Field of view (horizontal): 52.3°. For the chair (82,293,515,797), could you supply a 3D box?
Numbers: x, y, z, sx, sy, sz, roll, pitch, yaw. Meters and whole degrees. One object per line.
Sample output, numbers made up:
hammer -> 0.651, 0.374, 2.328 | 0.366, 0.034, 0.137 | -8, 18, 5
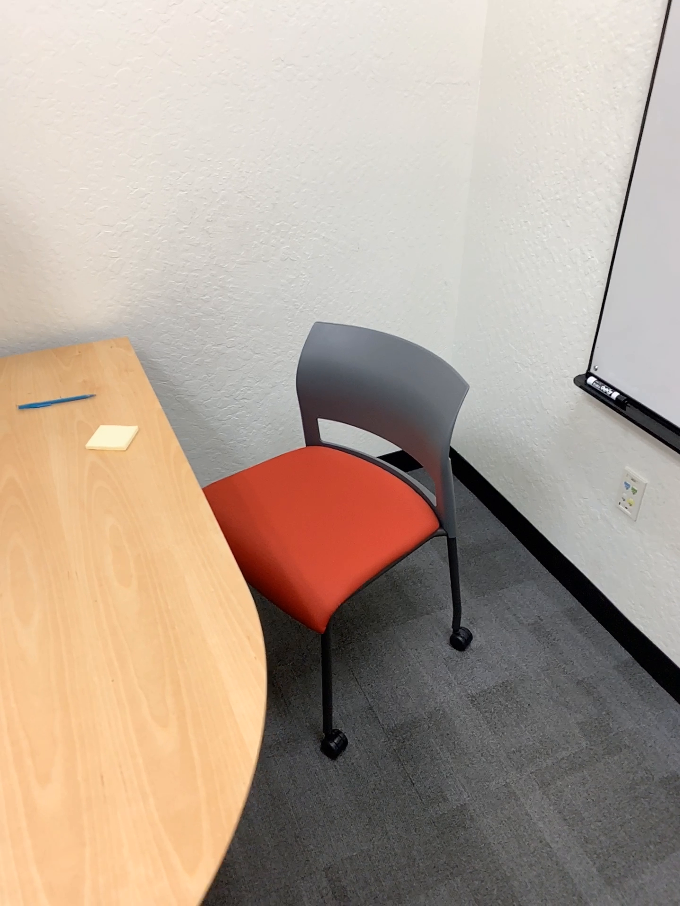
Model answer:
chair -> -0.102, 0.194, 1.909 | 0.722, 0.914, 0.743 | -29, 44, -35
